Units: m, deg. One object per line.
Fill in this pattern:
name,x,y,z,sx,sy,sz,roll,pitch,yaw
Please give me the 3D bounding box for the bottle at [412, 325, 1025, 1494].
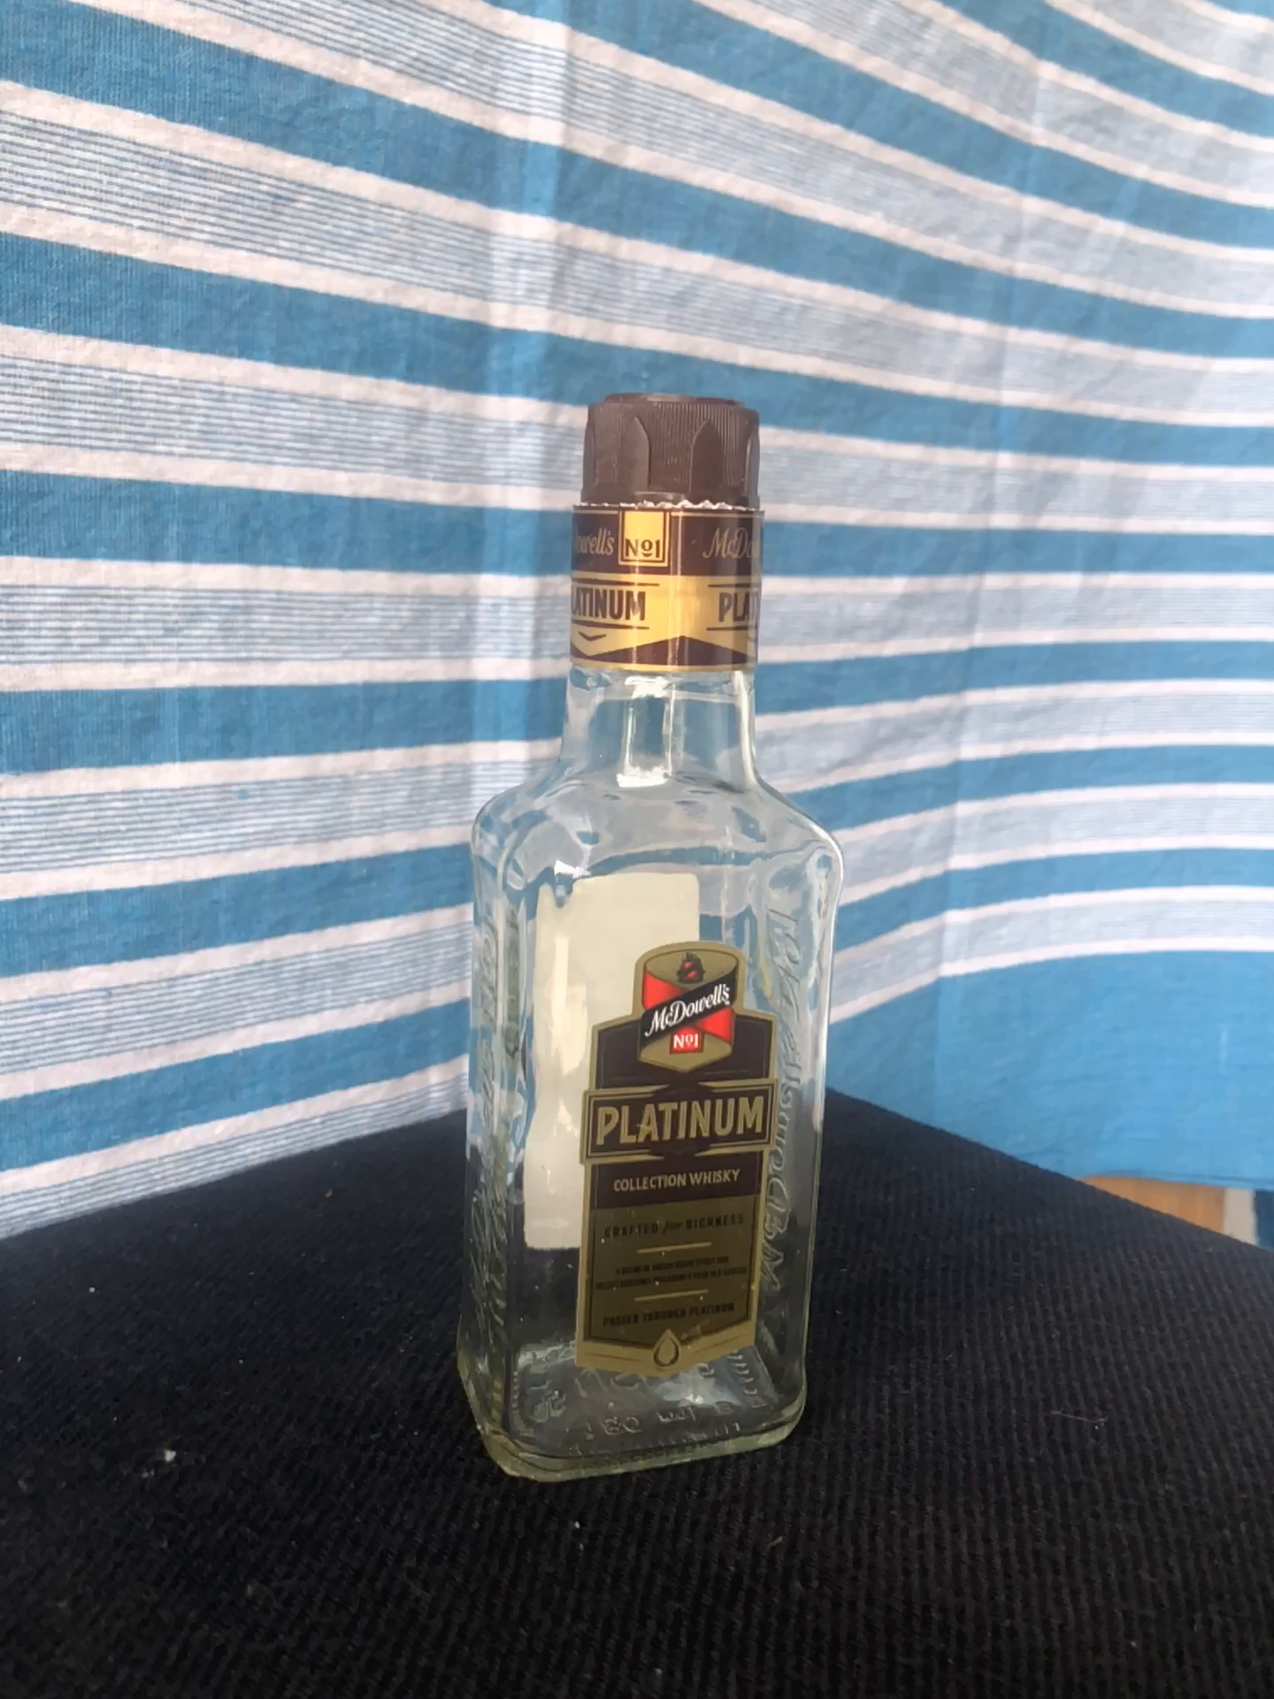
bottle,0.007,0.009,0.205,0.060,0.150,0.040,1,13,-23
